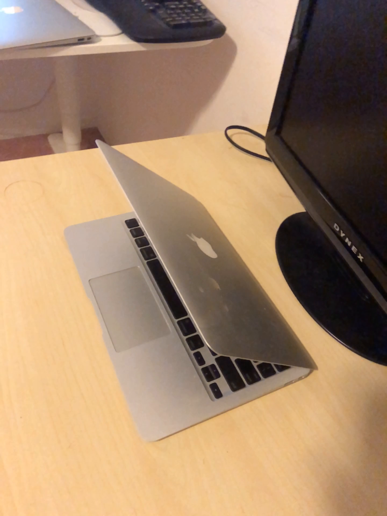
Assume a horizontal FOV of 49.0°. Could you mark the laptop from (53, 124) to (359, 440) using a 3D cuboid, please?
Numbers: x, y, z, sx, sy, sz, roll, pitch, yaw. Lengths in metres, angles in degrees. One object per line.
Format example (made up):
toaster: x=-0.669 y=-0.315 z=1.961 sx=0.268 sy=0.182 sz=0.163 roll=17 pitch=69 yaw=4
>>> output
laptop: x=-0.013 y=-0.003 z=0.452 sx=0.189 sy=0.127 sz=0.288 roll=-14 pitch=50 yaw=-22
